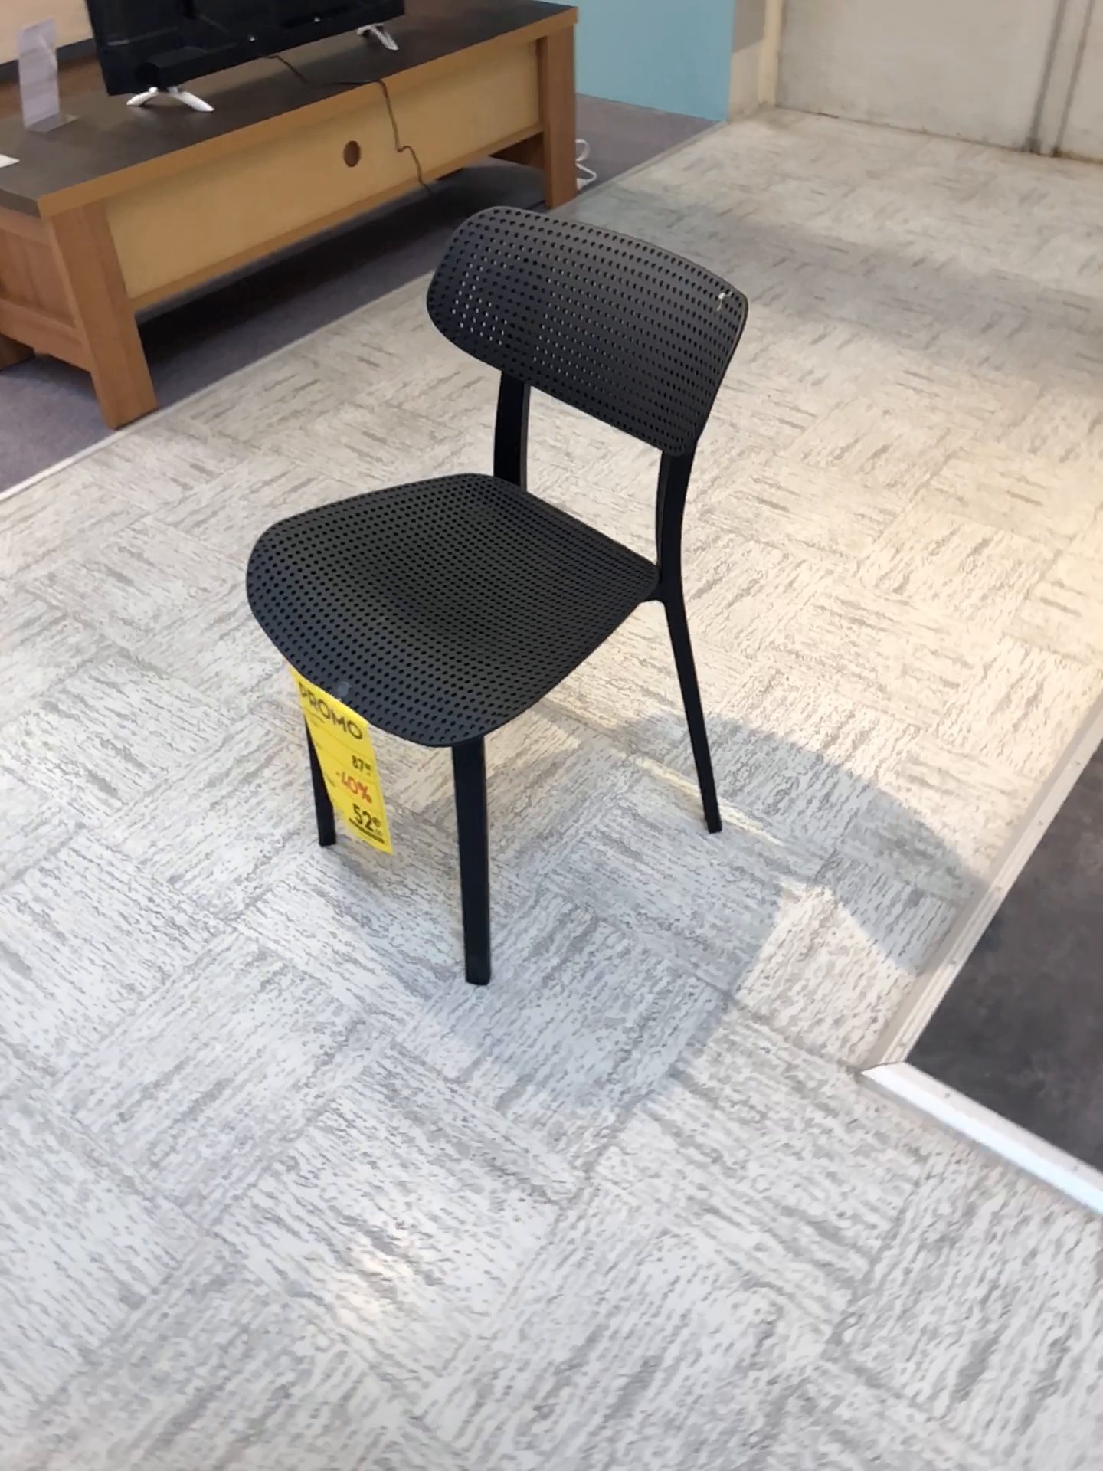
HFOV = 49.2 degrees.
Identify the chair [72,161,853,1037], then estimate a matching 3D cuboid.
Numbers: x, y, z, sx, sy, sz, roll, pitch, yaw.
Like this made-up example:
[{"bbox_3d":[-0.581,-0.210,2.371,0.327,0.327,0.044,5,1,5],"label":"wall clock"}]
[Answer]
[{"bbox_3d":[-0.079,-0.172,1.384,0.522,0.686,0.541,-34,52,-30],"label":"chair"}]
